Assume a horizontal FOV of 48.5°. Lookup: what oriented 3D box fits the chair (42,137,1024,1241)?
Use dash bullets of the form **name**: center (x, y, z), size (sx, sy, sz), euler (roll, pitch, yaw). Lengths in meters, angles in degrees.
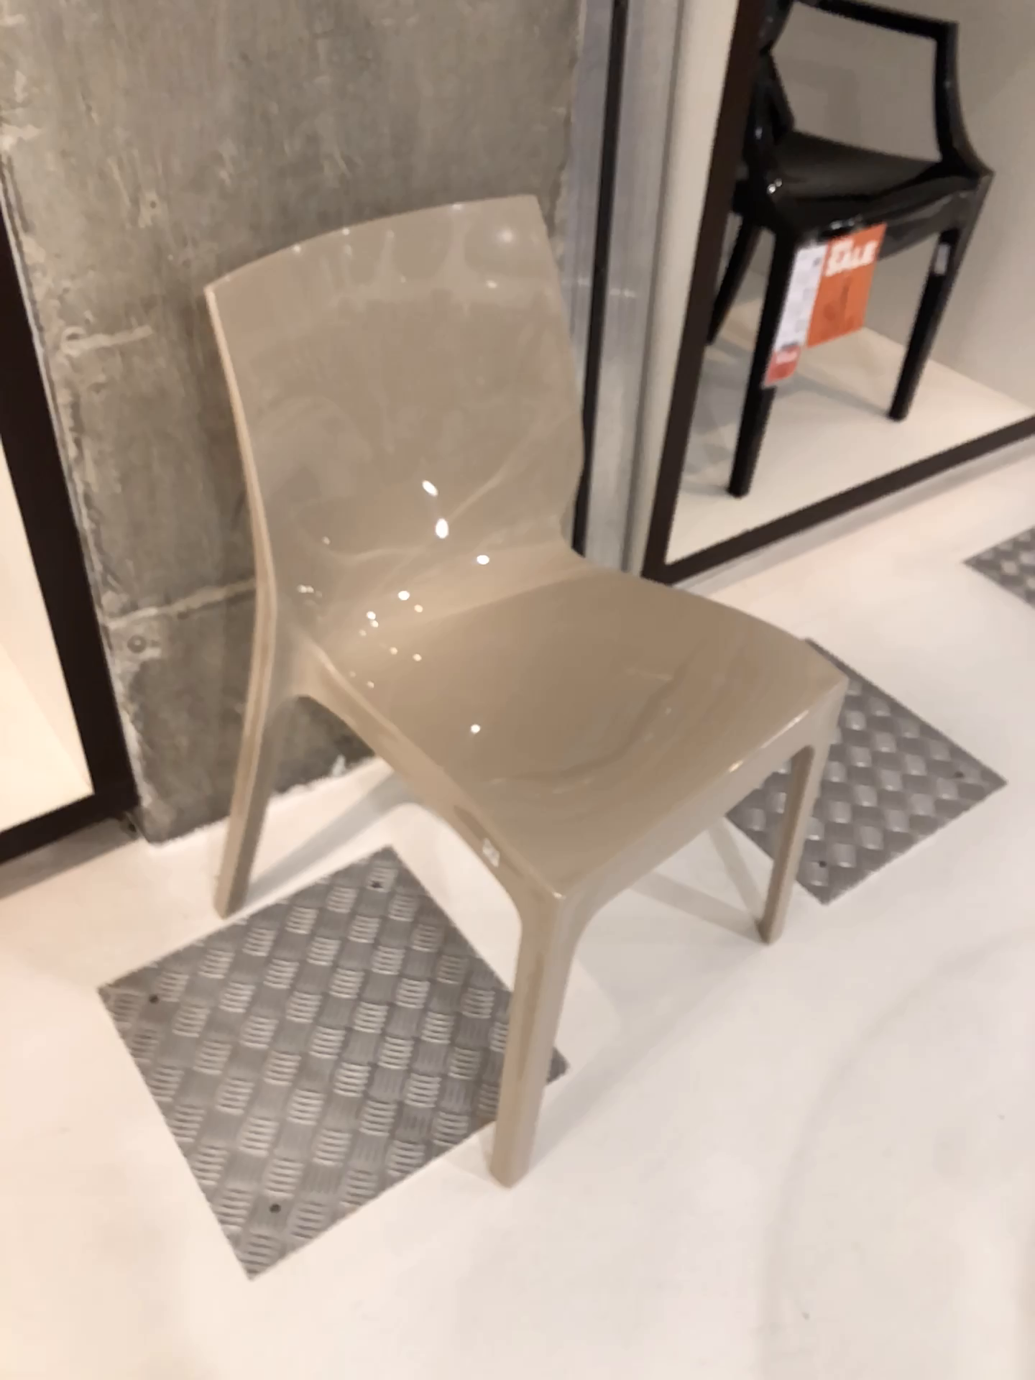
- **chair**: center (-0.010, -0.014, 1.186), size (0.553, 0.824, 0.561), euler (-30, 52, -34)
